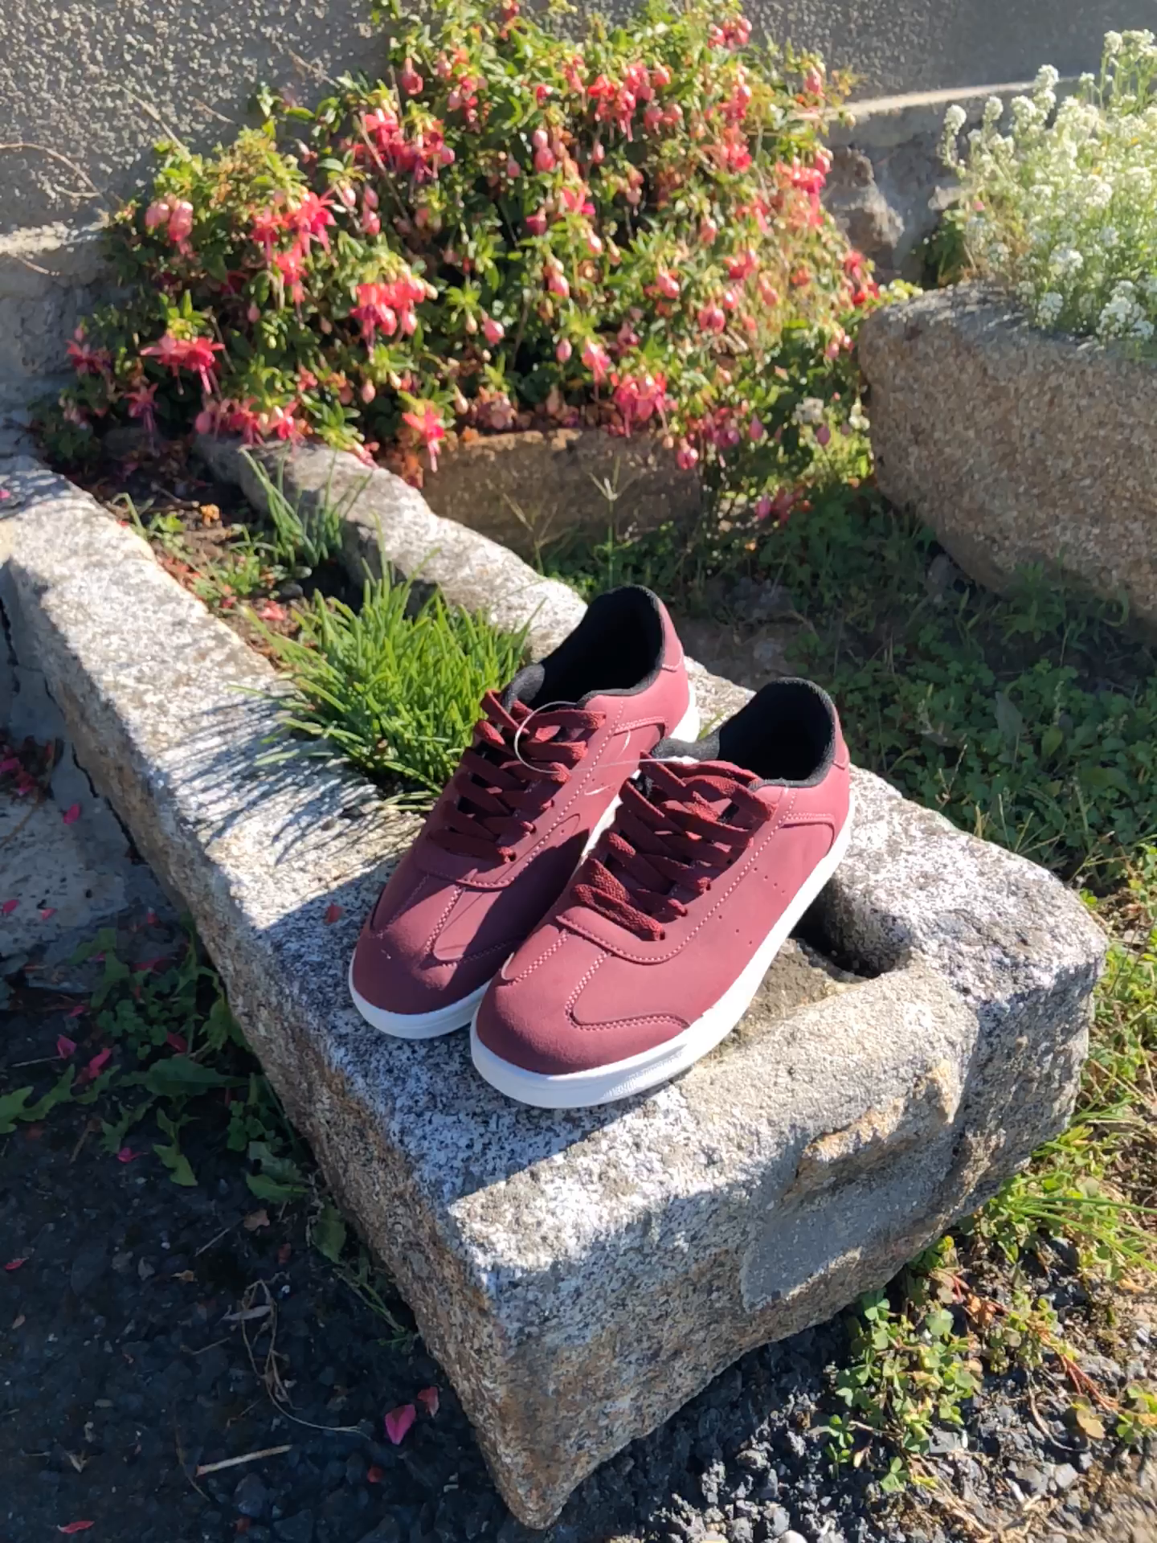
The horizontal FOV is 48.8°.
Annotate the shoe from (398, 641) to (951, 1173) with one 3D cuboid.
[{"bbox_3d":[0.055,0.041,0.559,0.100,0.080,0.262,21,40,34],"label":"shoe"}]

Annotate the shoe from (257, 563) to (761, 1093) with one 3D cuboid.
[{"bbox_3d":[-0.018,0.012,0.614,0.100,0.080,0.262,17,49,29],"label":"shoe"}]
